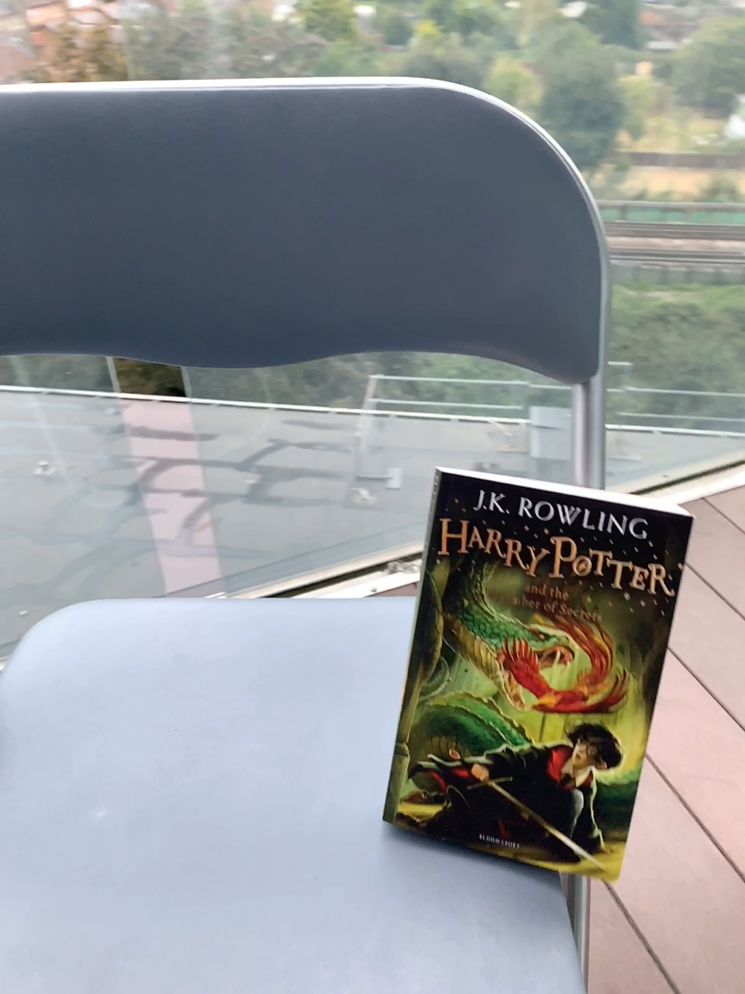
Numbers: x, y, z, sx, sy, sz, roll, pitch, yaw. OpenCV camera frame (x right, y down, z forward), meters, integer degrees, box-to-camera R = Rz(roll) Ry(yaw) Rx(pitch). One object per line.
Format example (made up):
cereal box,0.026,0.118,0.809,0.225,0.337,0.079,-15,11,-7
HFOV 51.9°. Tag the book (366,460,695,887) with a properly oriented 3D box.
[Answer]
book,0.080,0.090,0.415,0.140,0.199,0.040,9,9,12
